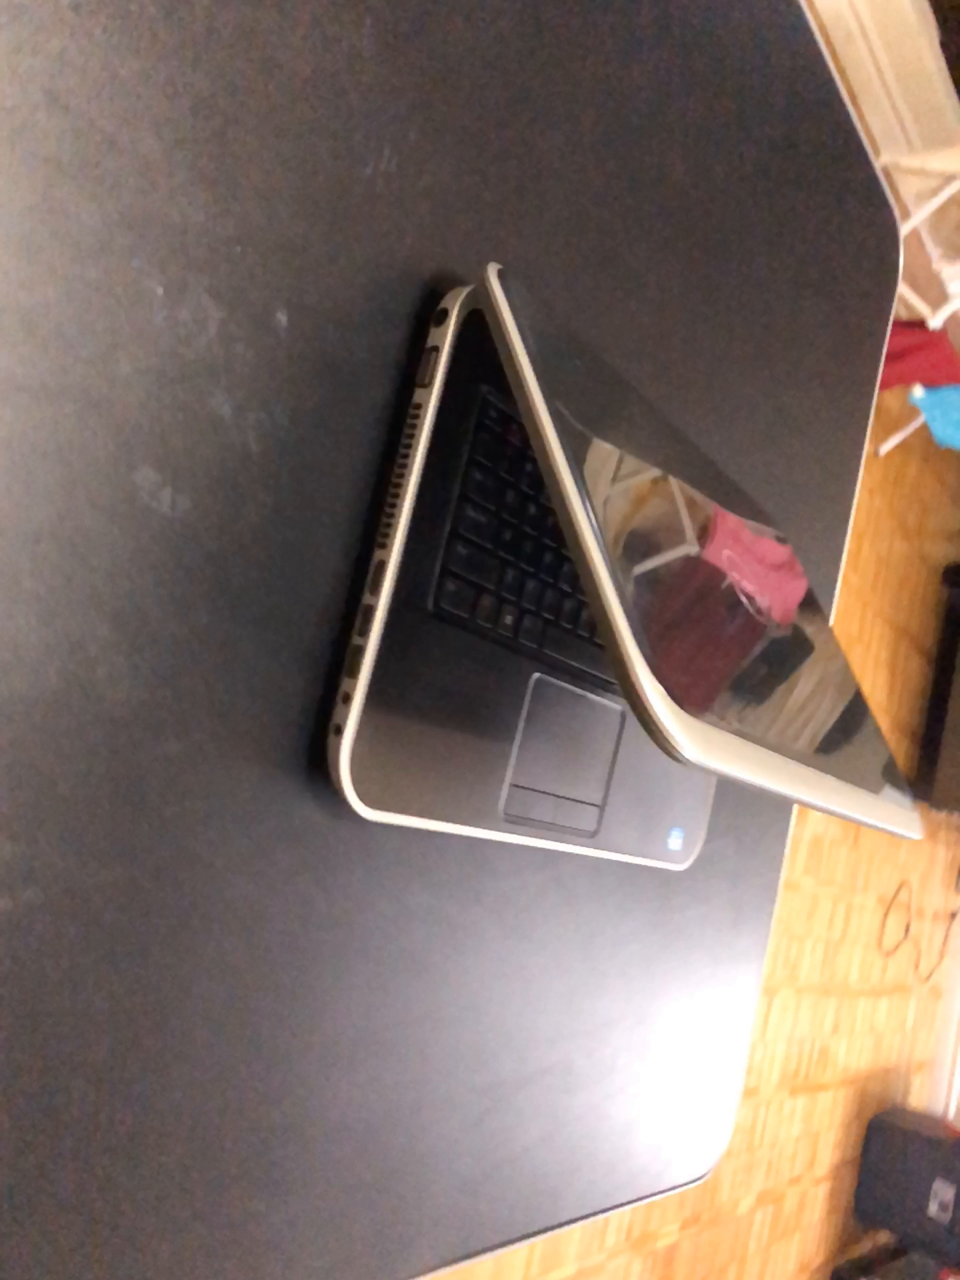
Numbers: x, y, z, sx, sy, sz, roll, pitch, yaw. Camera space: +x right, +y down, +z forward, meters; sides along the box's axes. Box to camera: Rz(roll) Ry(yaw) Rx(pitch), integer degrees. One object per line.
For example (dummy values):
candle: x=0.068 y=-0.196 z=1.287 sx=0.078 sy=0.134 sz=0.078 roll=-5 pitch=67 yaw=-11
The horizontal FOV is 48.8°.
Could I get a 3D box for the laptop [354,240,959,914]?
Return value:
laptop: x=0.127 y=0.003 z=0.559 sx=0.358 sy=0.137 sz=0.239 roll=22 pitch=78 yaw=-52
